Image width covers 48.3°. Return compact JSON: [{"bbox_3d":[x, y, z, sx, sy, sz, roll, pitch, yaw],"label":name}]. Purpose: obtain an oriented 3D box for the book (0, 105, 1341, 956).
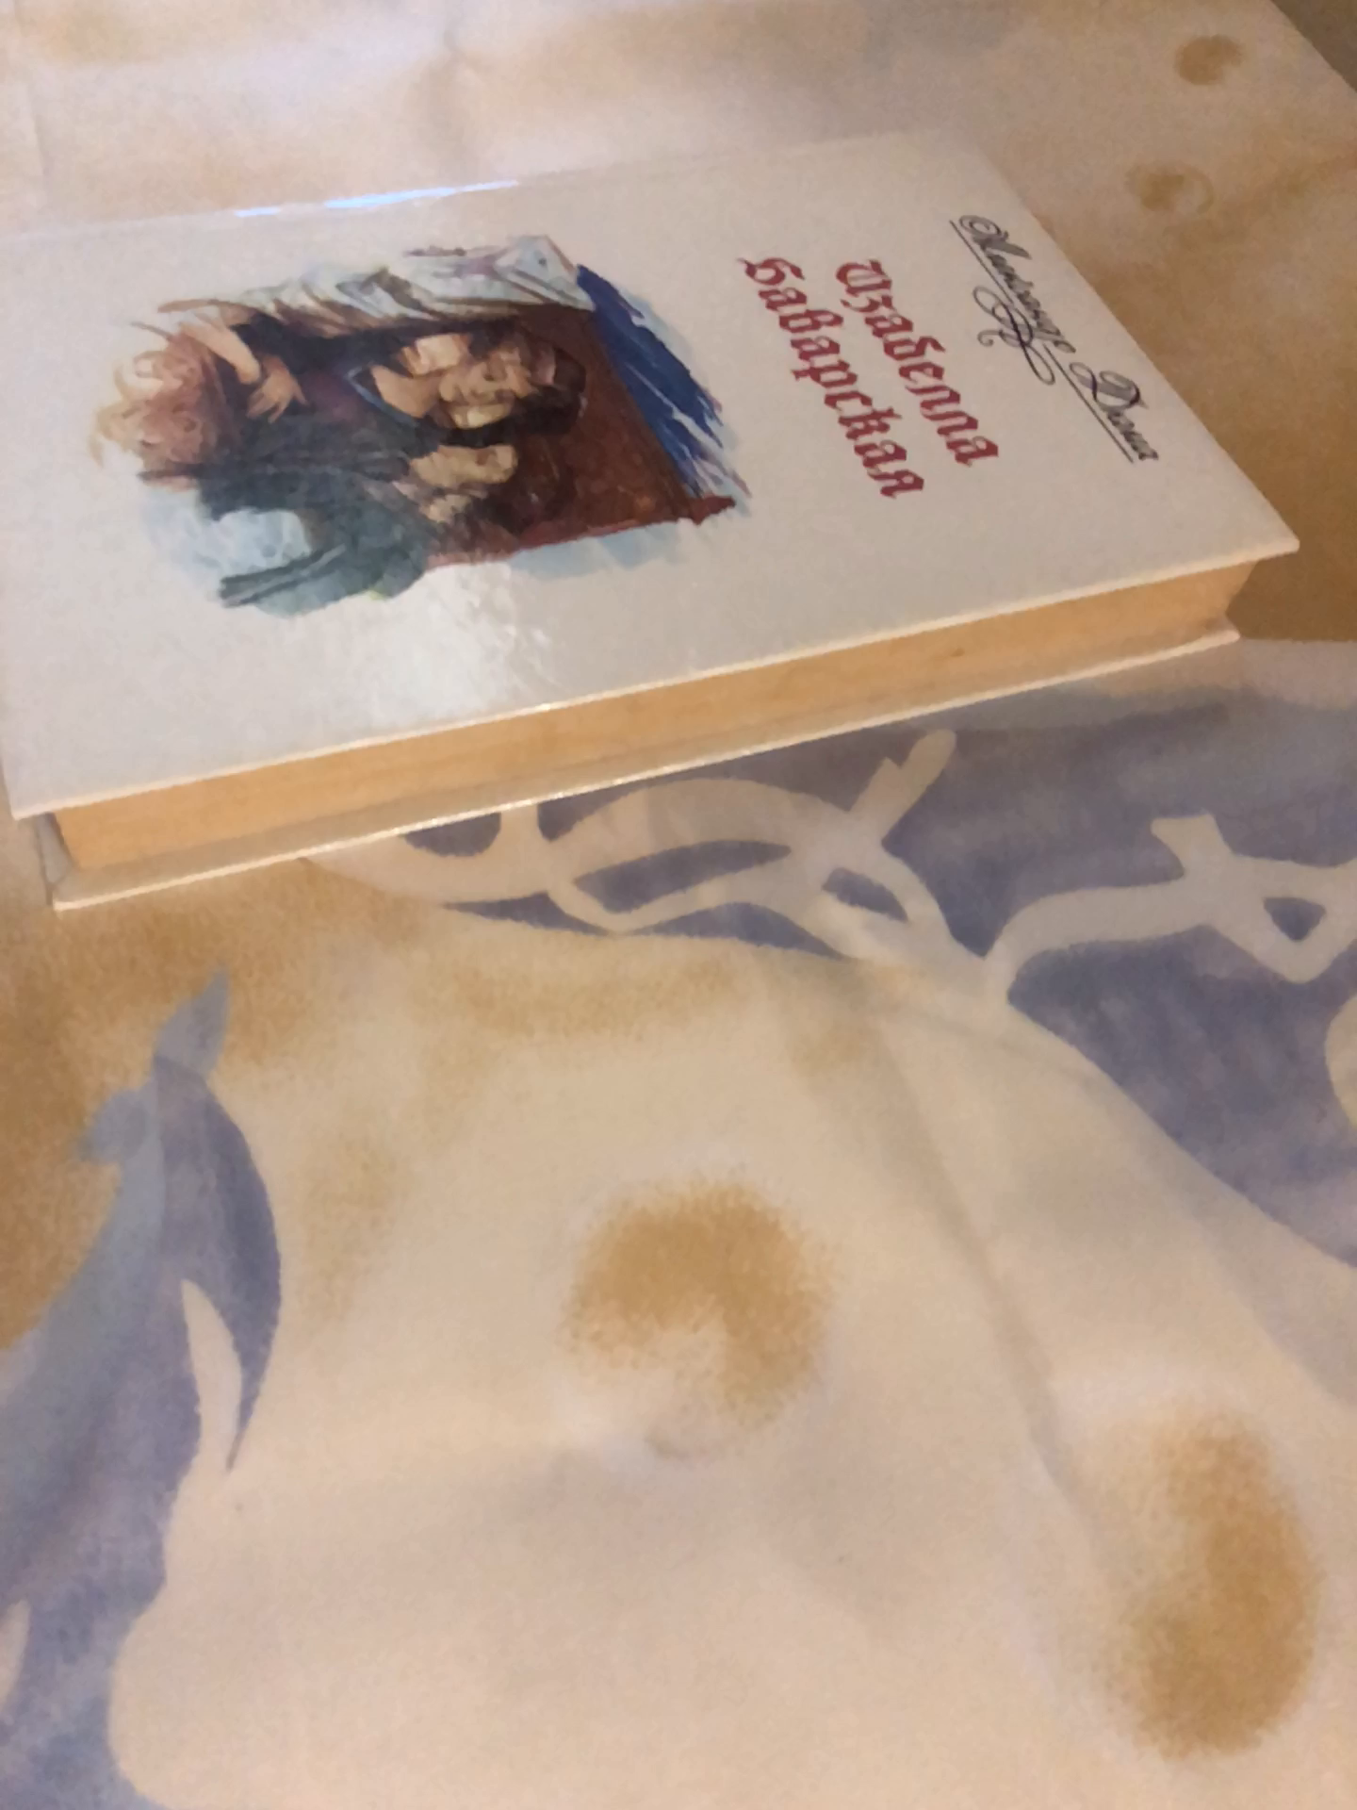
[{"bbox_3d":[-0.015,-0.080,0.264,0.208,0.026,0.140,-14,58,-15],"label":"book"}]
